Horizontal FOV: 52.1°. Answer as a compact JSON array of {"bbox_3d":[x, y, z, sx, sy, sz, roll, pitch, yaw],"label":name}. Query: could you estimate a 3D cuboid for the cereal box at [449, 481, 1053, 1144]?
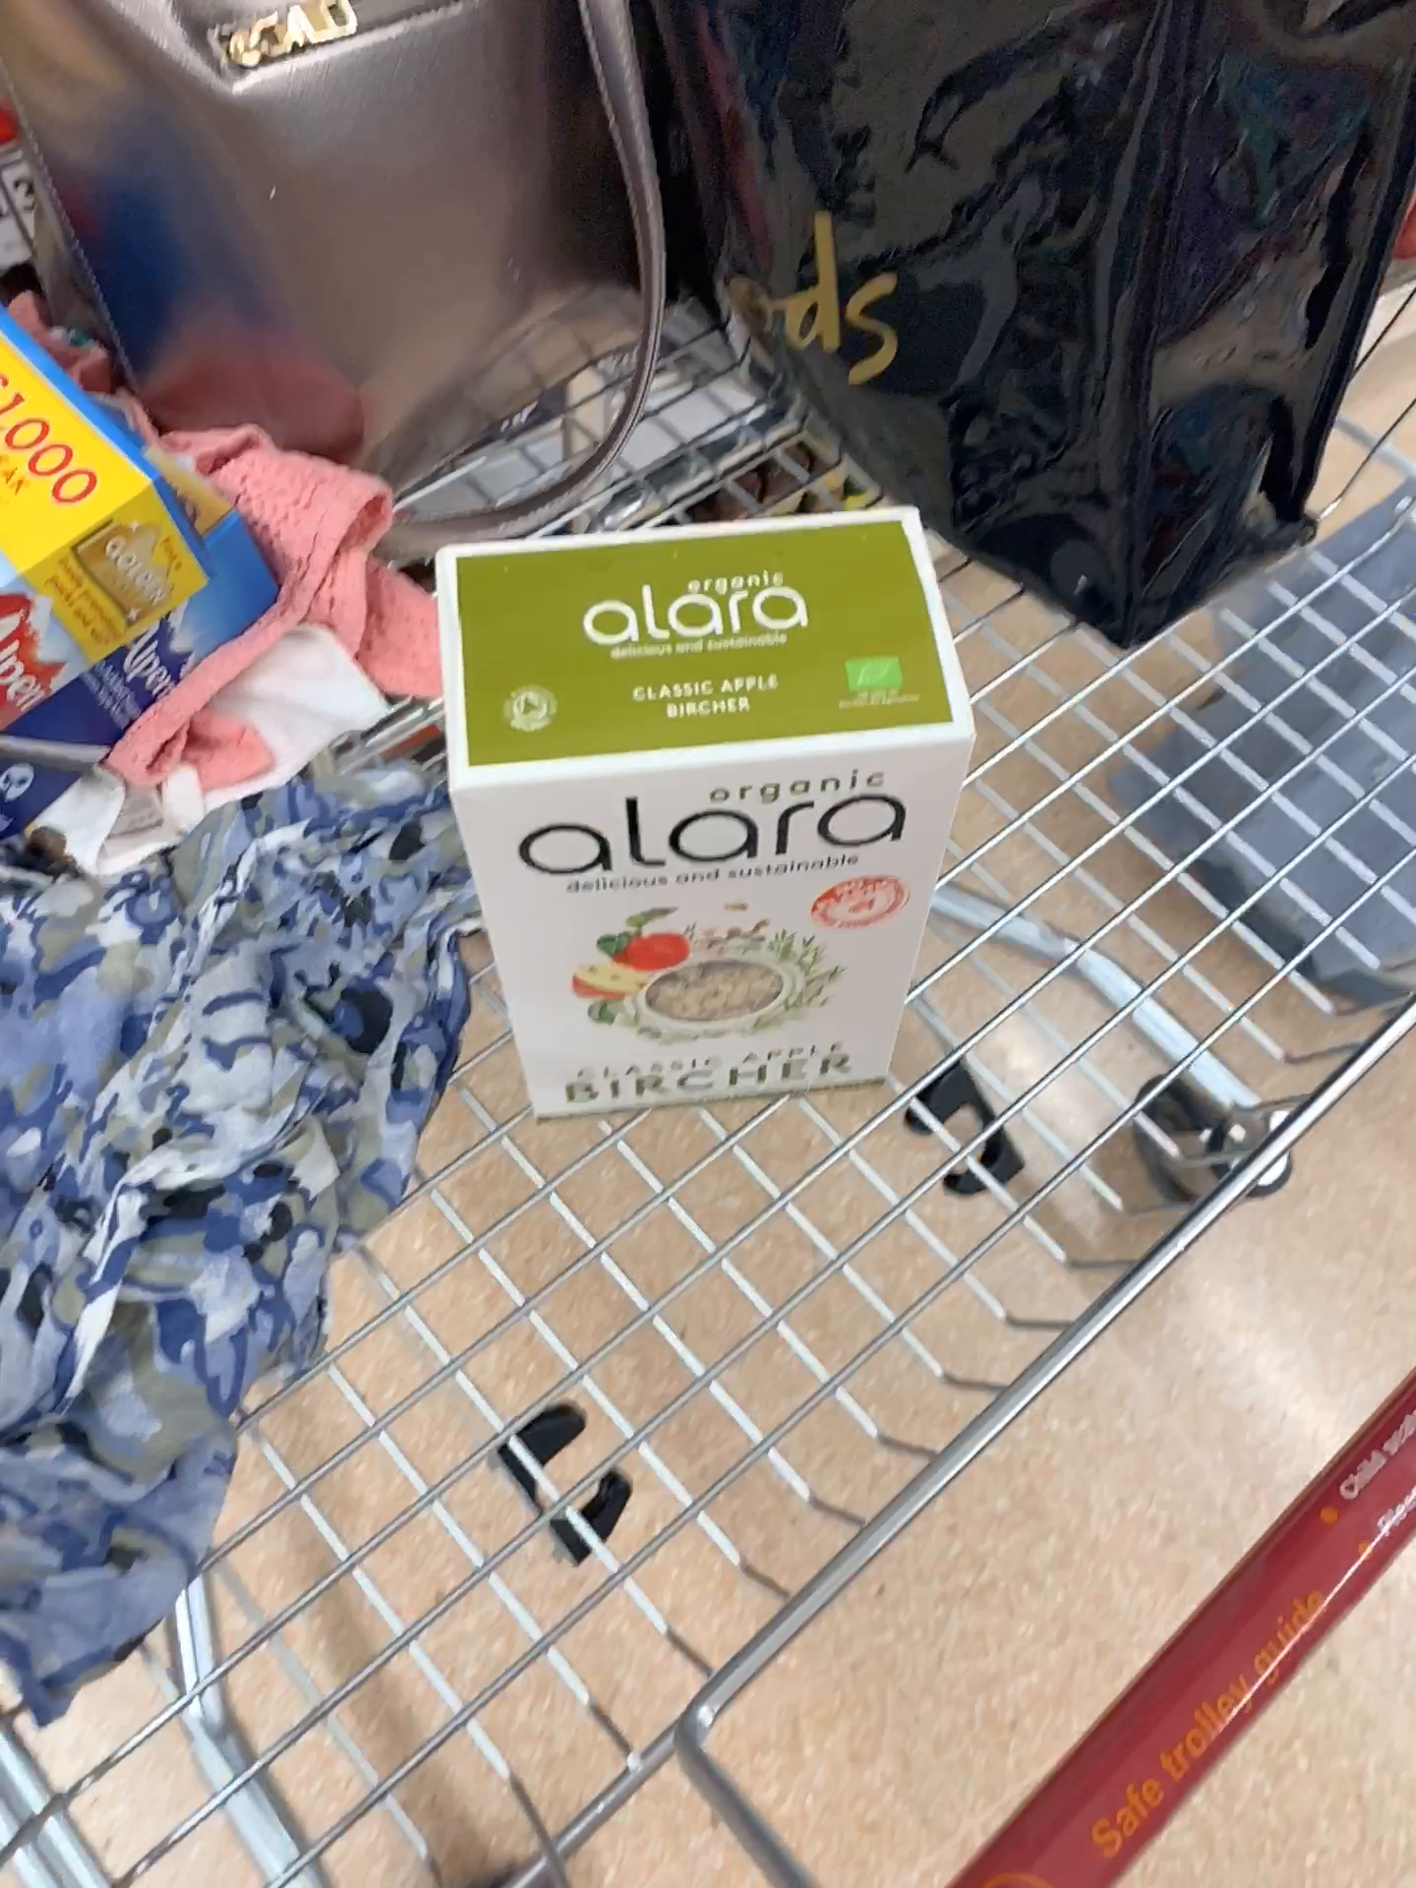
[{"bbox_3d":[0.004,-0.023,0.389,0.120,0.179,0.081,-5,61,-5],"label":"cereal box"}]
